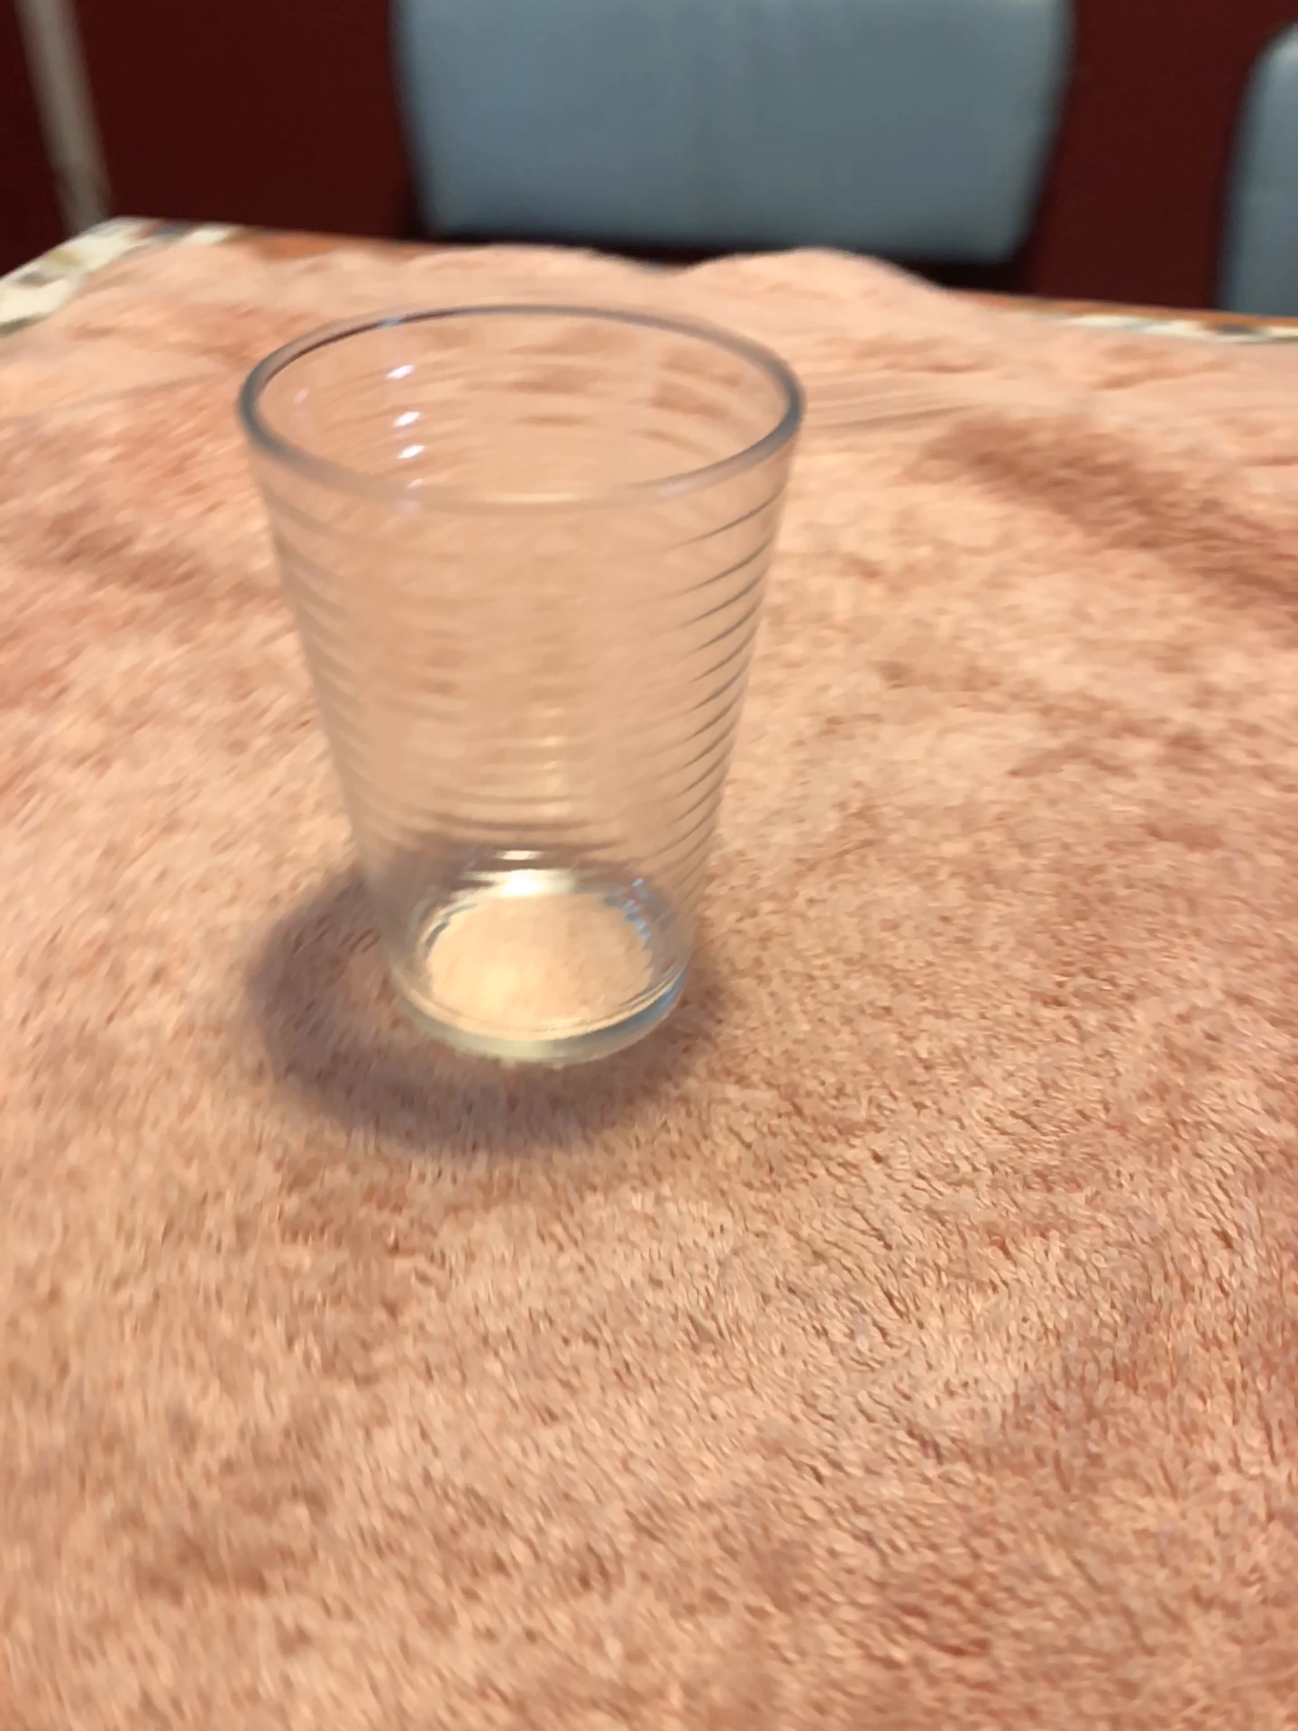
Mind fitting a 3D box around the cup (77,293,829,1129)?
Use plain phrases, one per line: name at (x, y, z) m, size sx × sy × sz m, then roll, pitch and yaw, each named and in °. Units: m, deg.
cup at (-0.019, -0.024, 0.212) m, size 0.080 × 0.089 × 0.081 m, roll 0°, pitch 38°, yaw 0°
